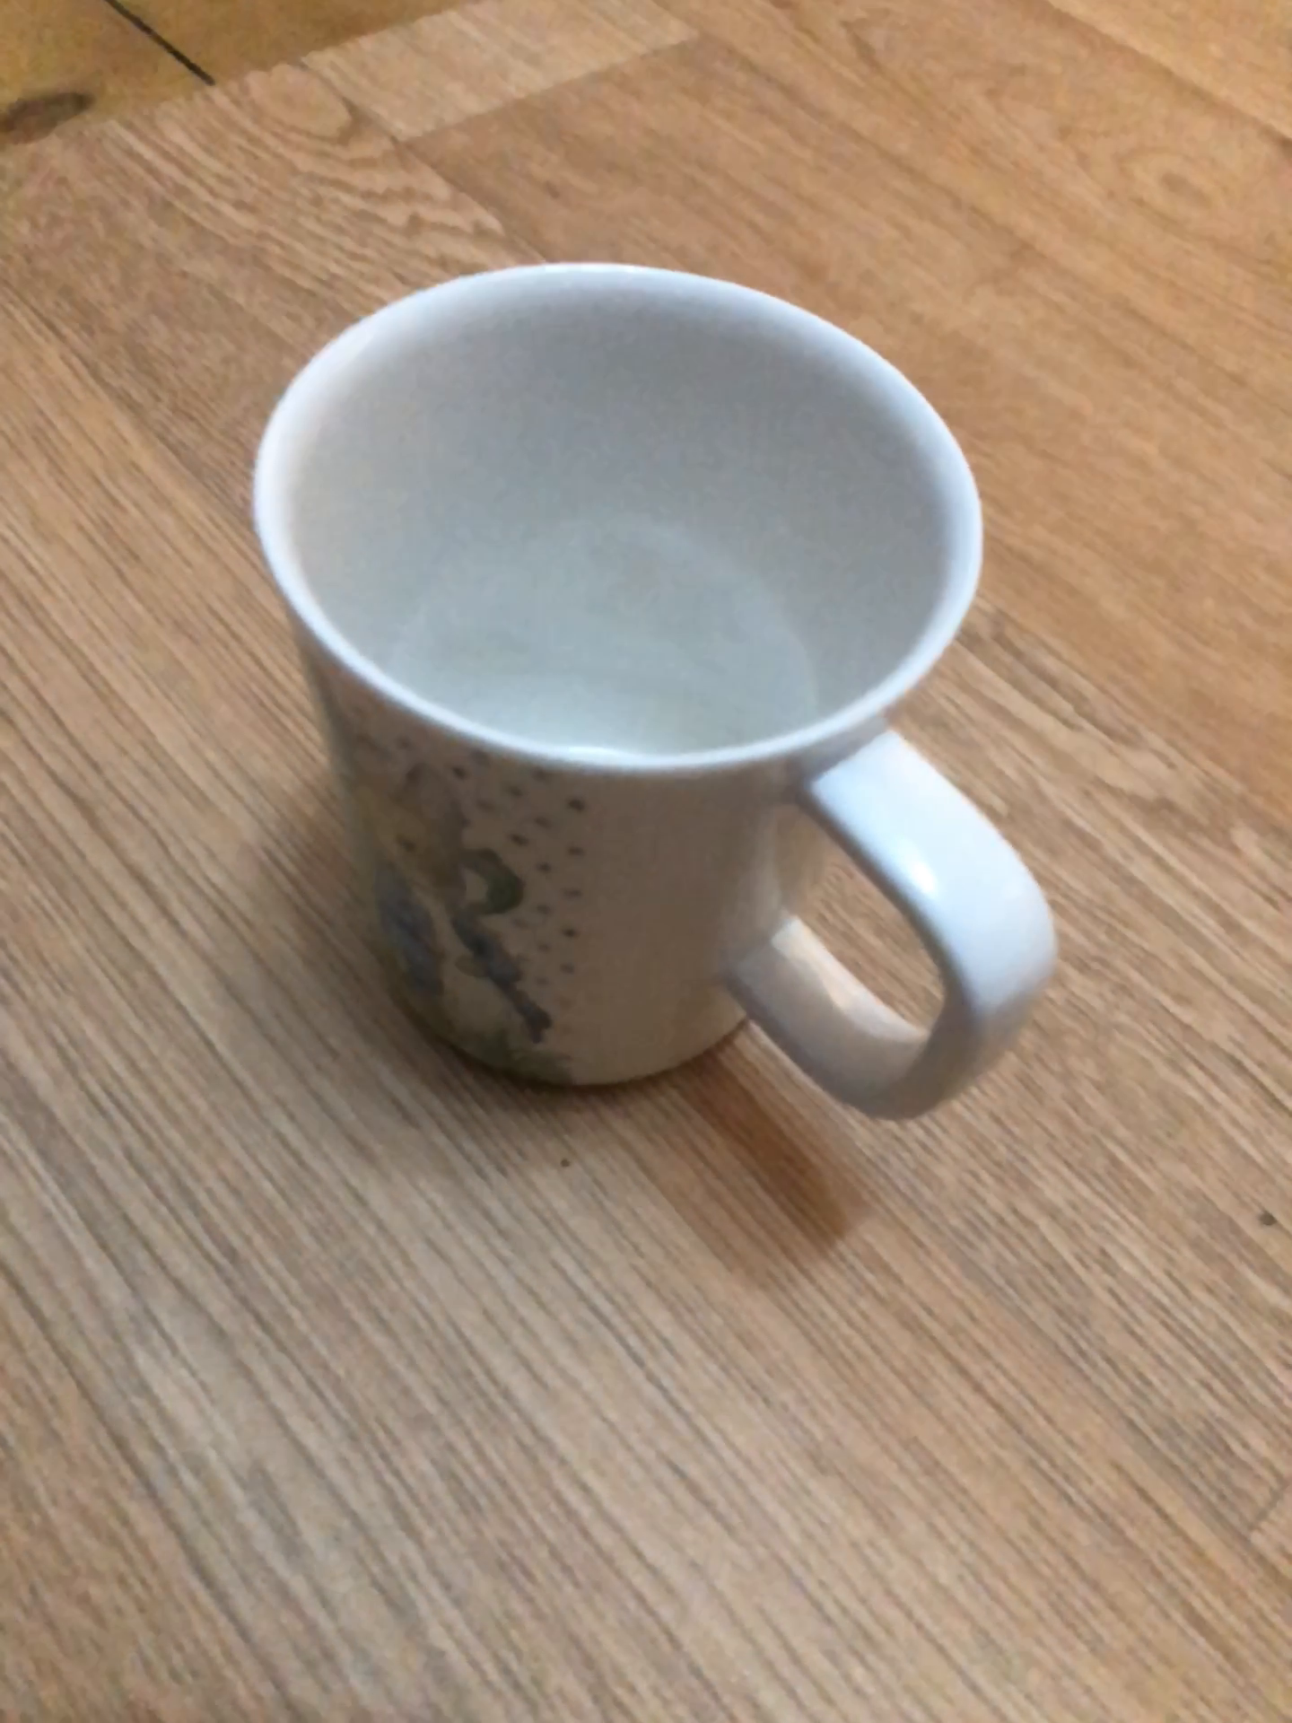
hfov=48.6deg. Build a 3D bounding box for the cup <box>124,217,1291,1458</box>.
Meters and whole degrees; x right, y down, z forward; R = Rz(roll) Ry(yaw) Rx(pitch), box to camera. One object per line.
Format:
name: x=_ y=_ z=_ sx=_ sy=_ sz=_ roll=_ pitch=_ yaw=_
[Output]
cup: x=0.005 y=-0.006 z=0.182 sx=0.080 sy=0.080 sz=0.110 roll=-31 pitch=64 yaw=-24
